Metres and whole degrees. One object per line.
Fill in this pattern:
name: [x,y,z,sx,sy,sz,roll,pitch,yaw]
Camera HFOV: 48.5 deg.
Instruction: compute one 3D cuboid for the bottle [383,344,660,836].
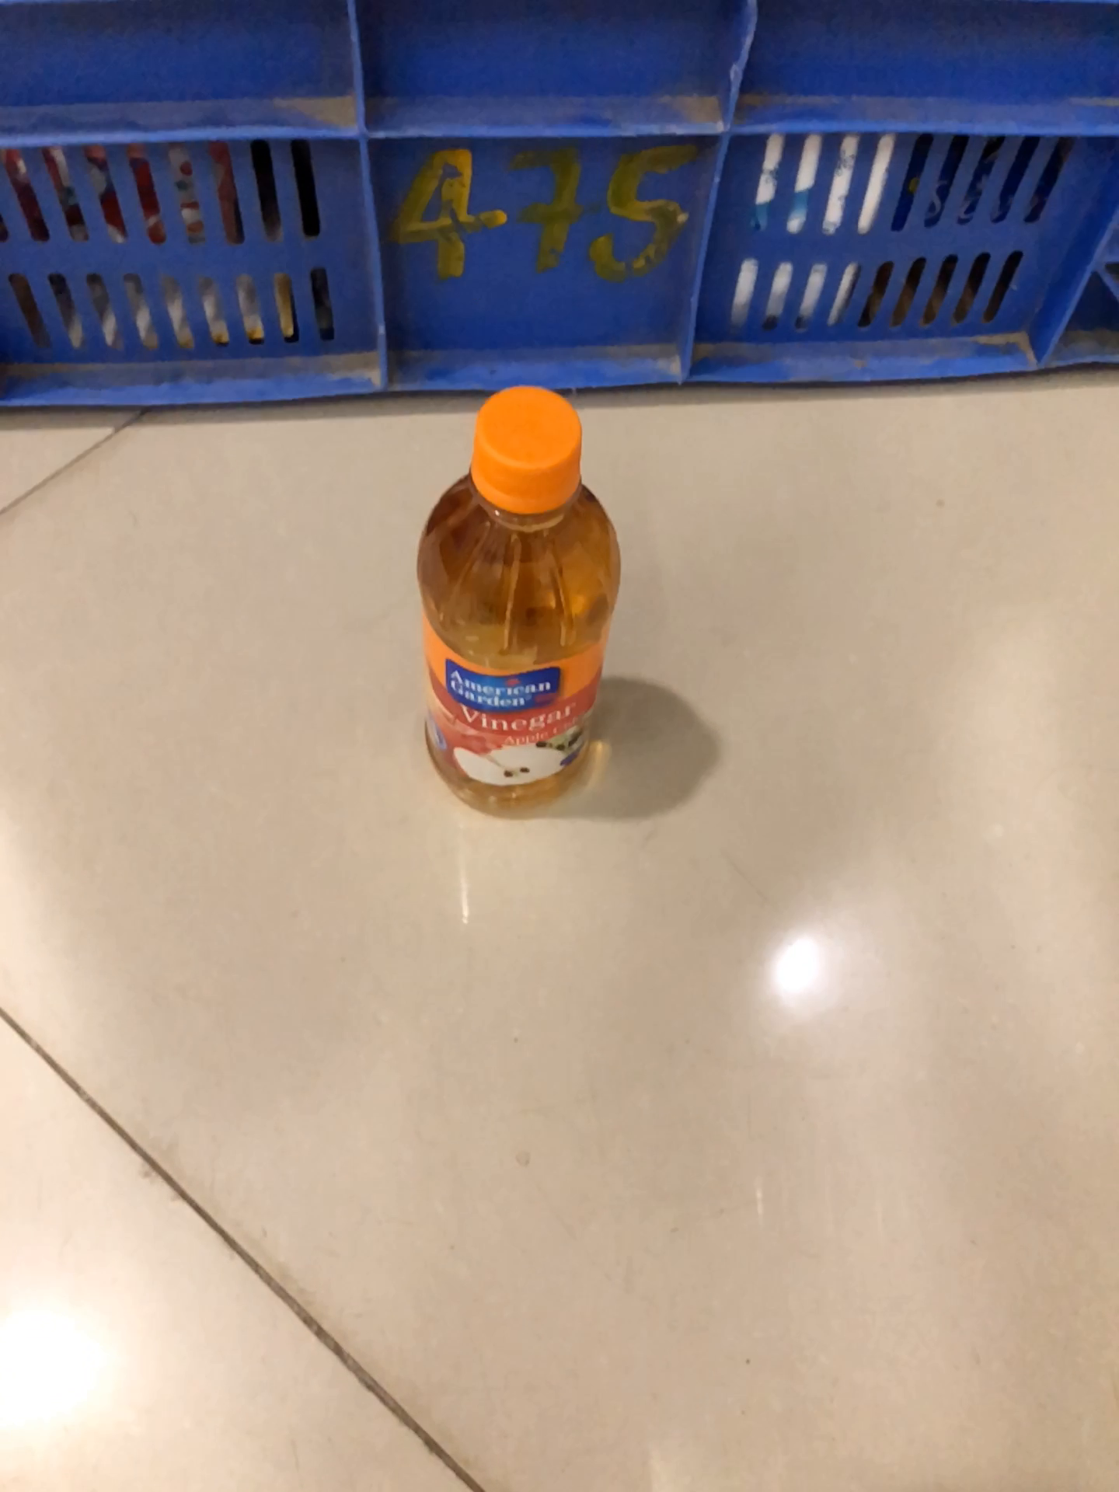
bottle: [-0.013,-0.041,0.413,0.070,0.169,0.070,1,61,-3]
